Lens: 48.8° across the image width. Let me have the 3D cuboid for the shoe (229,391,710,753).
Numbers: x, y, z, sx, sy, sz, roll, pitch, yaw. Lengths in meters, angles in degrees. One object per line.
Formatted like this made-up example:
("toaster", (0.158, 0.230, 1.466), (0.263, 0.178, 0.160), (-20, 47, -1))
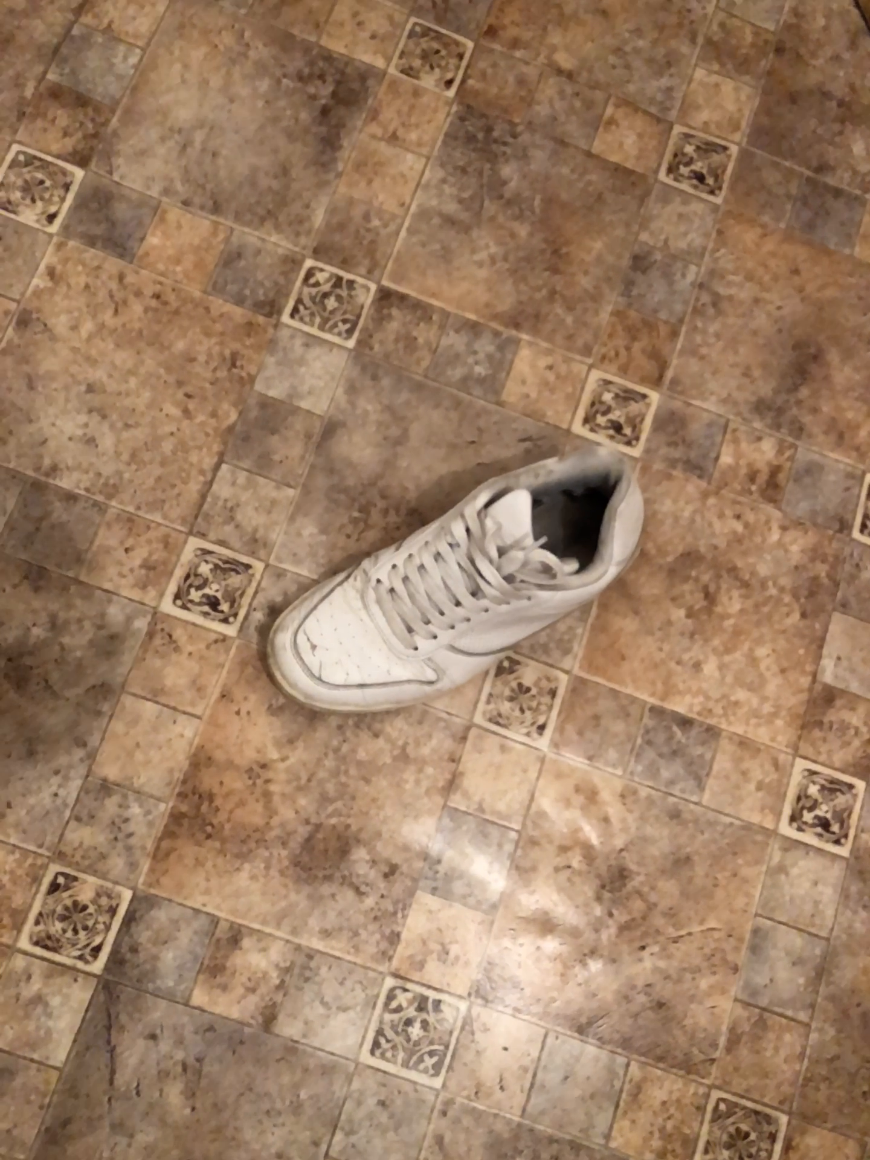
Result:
("shoe", (0.020, -0.002, 0.654), (0.280, 0.110, 0.122), (-25, 83, -11))
